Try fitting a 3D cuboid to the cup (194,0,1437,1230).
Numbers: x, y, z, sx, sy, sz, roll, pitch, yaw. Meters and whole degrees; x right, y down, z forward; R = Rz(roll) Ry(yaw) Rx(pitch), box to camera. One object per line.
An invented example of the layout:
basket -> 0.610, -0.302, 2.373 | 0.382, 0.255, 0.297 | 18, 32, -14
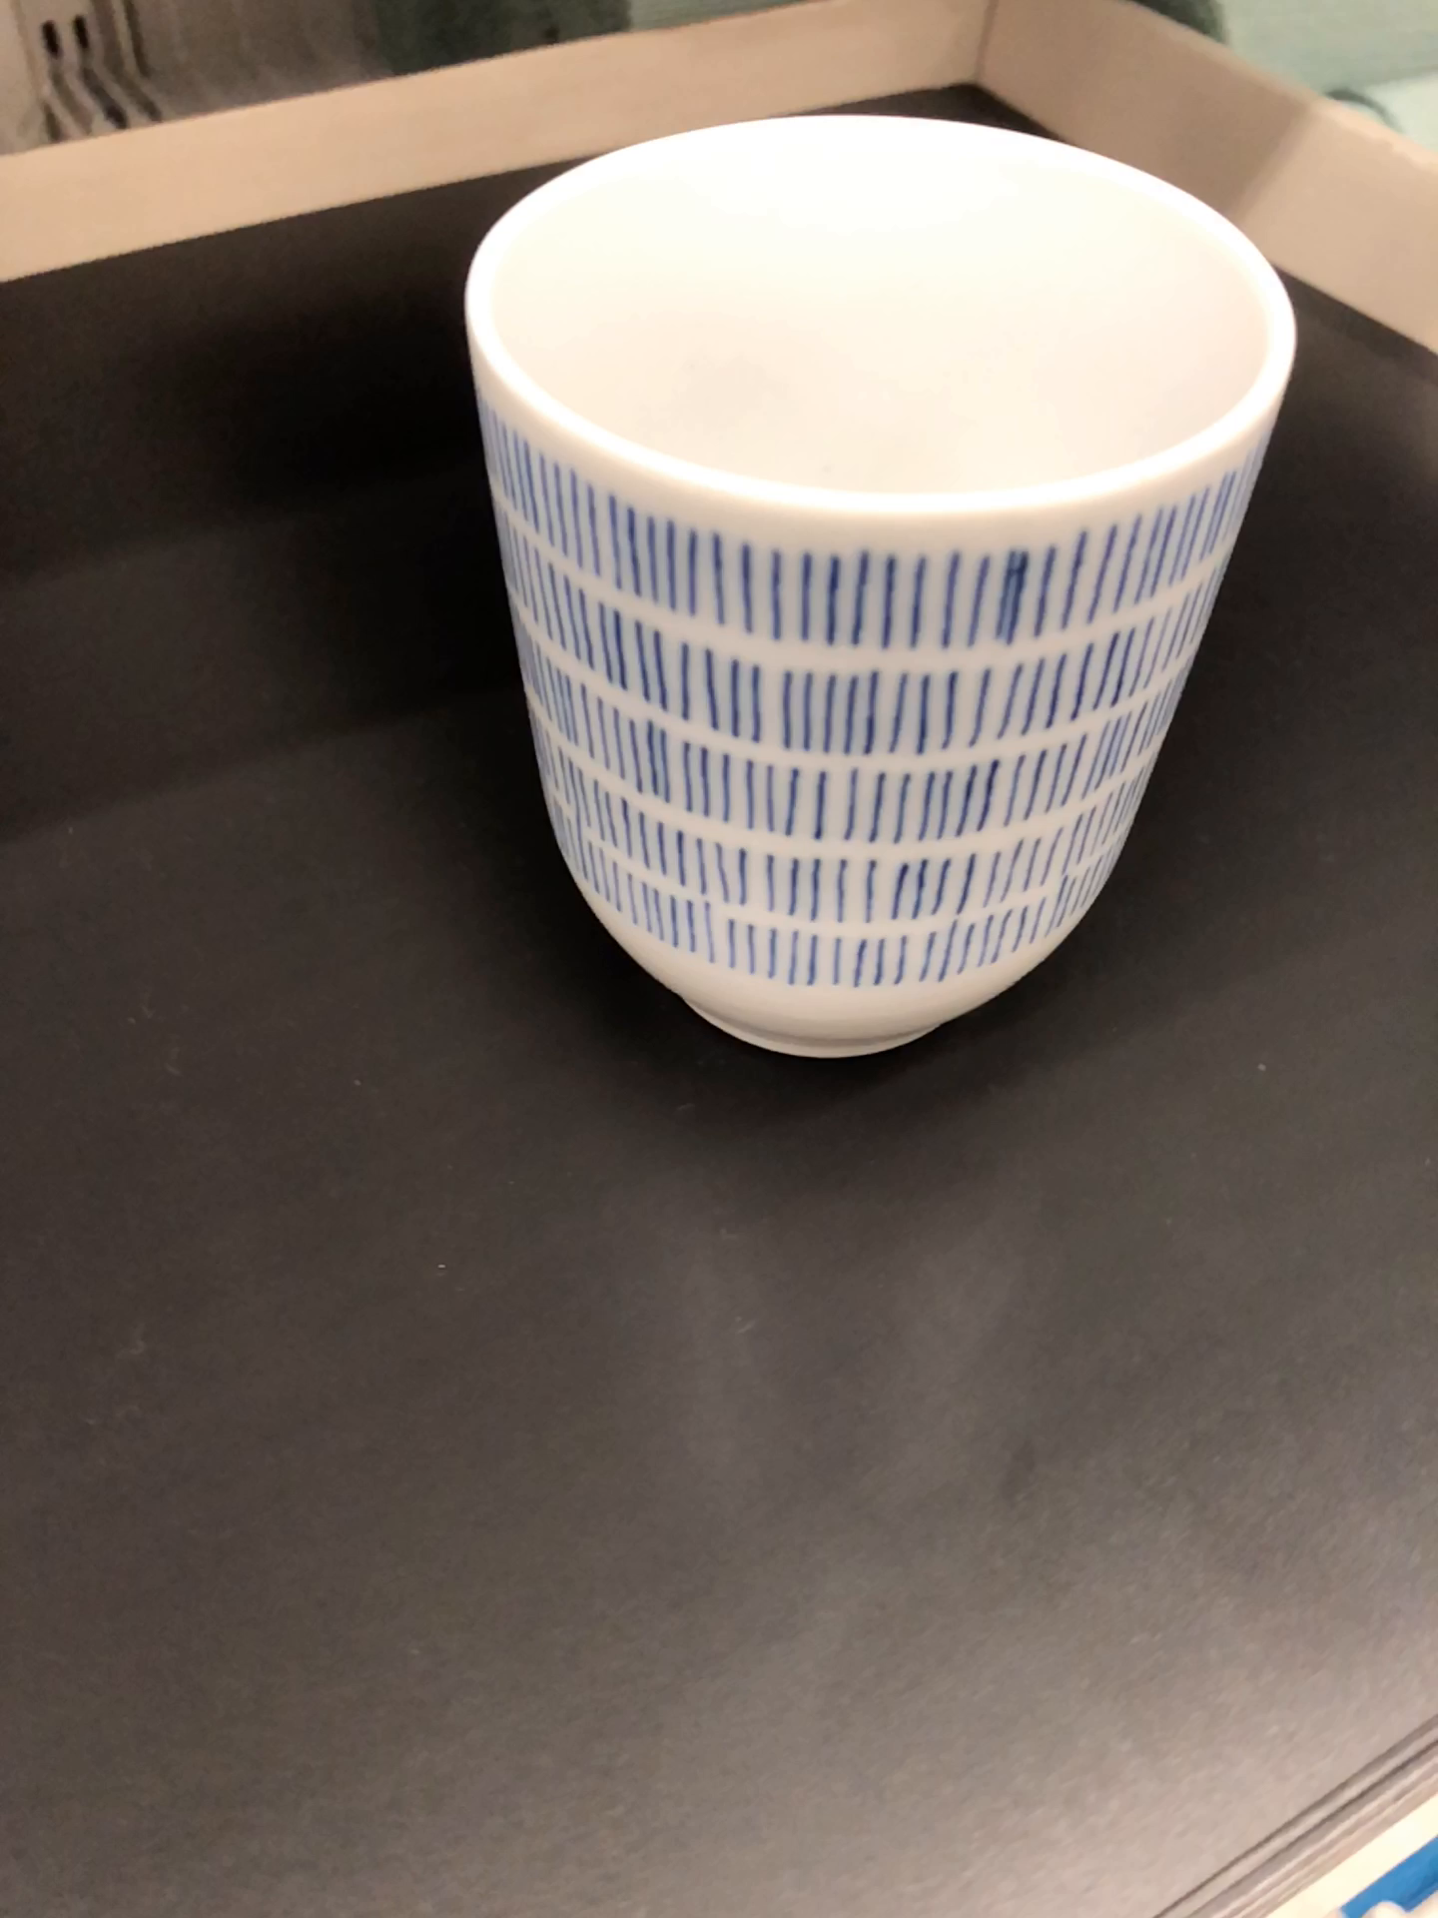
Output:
cup -> 0.008, -0.036, 0.154 | 0.080, 0.070, 0.070 | -22, 51, -19
